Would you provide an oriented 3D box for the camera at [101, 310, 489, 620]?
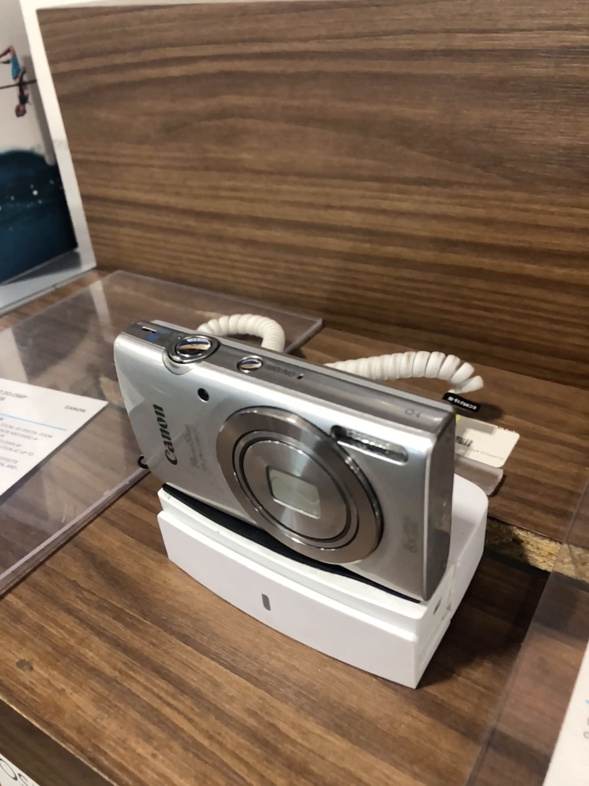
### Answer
[{"bbox_3d":[-0.003,0.015,0.173,0.100,0.050,0.020,18,42,30],"label":"camera"}]
